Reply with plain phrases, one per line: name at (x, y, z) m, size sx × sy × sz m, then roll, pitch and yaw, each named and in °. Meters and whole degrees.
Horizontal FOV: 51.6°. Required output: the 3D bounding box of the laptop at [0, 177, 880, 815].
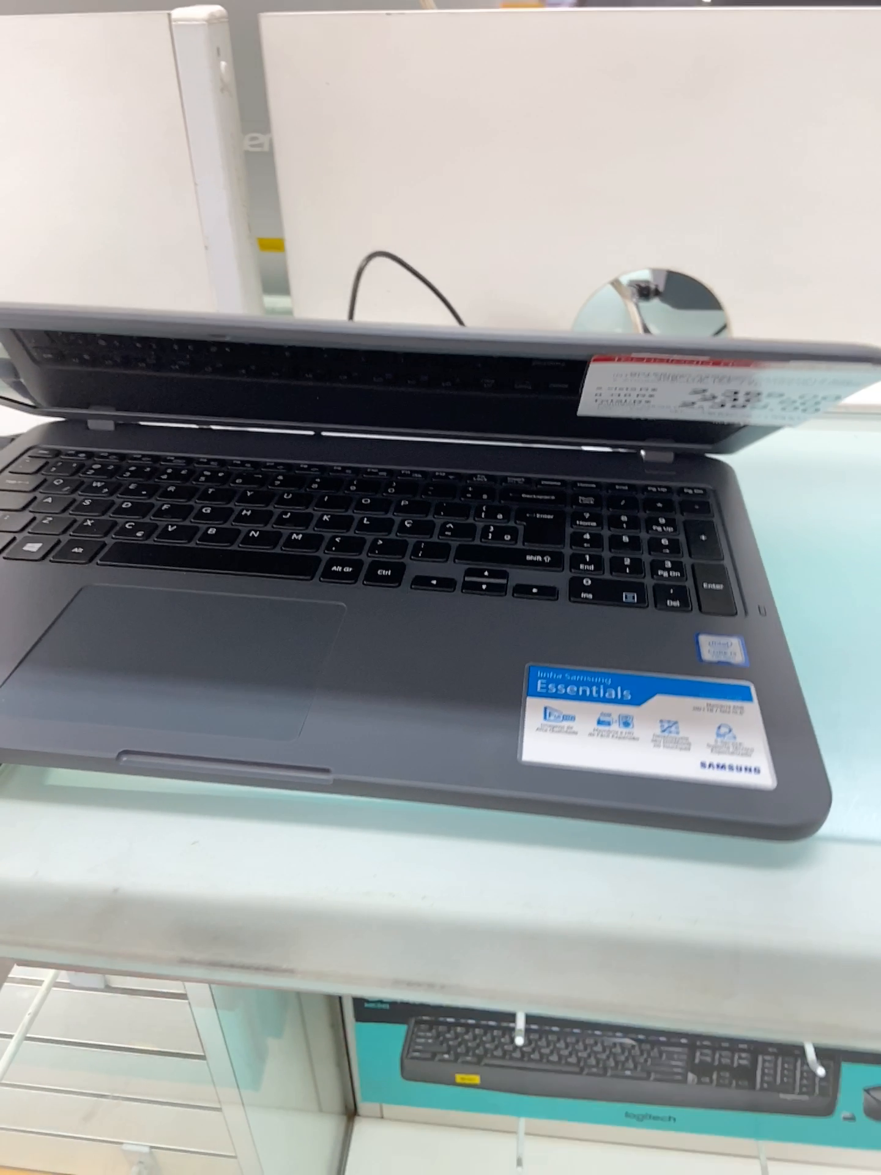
laptop at (-0.055, -0.064, 0.357) m, size 0.367 × 0.126 × 0.238 m, roll 4°, pitch 35°, yaw 6°
